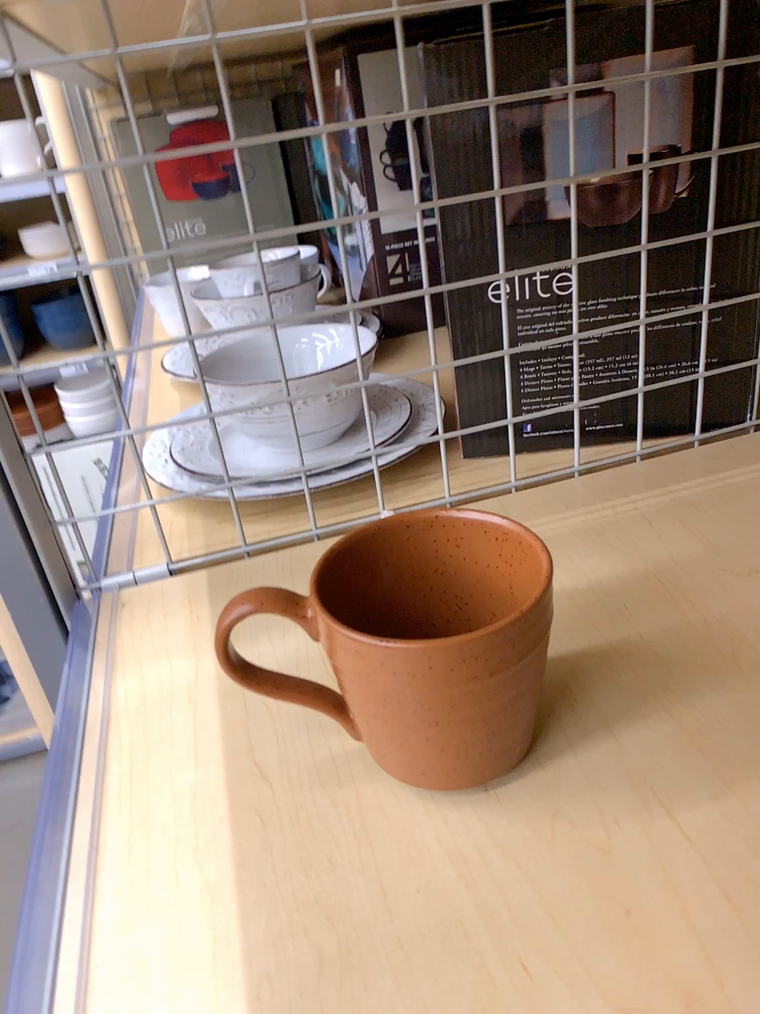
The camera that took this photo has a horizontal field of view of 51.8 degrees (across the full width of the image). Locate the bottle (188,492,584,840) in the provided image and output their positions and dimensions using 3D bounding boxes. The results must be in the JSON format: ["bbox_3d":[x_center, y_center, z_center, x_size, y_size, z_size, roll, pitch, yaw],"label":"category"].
[{"bbox_3d":[0.006,0.065,0.341,0.140,0.090,0.100,-7,28,2],"label":"bottle"}]
